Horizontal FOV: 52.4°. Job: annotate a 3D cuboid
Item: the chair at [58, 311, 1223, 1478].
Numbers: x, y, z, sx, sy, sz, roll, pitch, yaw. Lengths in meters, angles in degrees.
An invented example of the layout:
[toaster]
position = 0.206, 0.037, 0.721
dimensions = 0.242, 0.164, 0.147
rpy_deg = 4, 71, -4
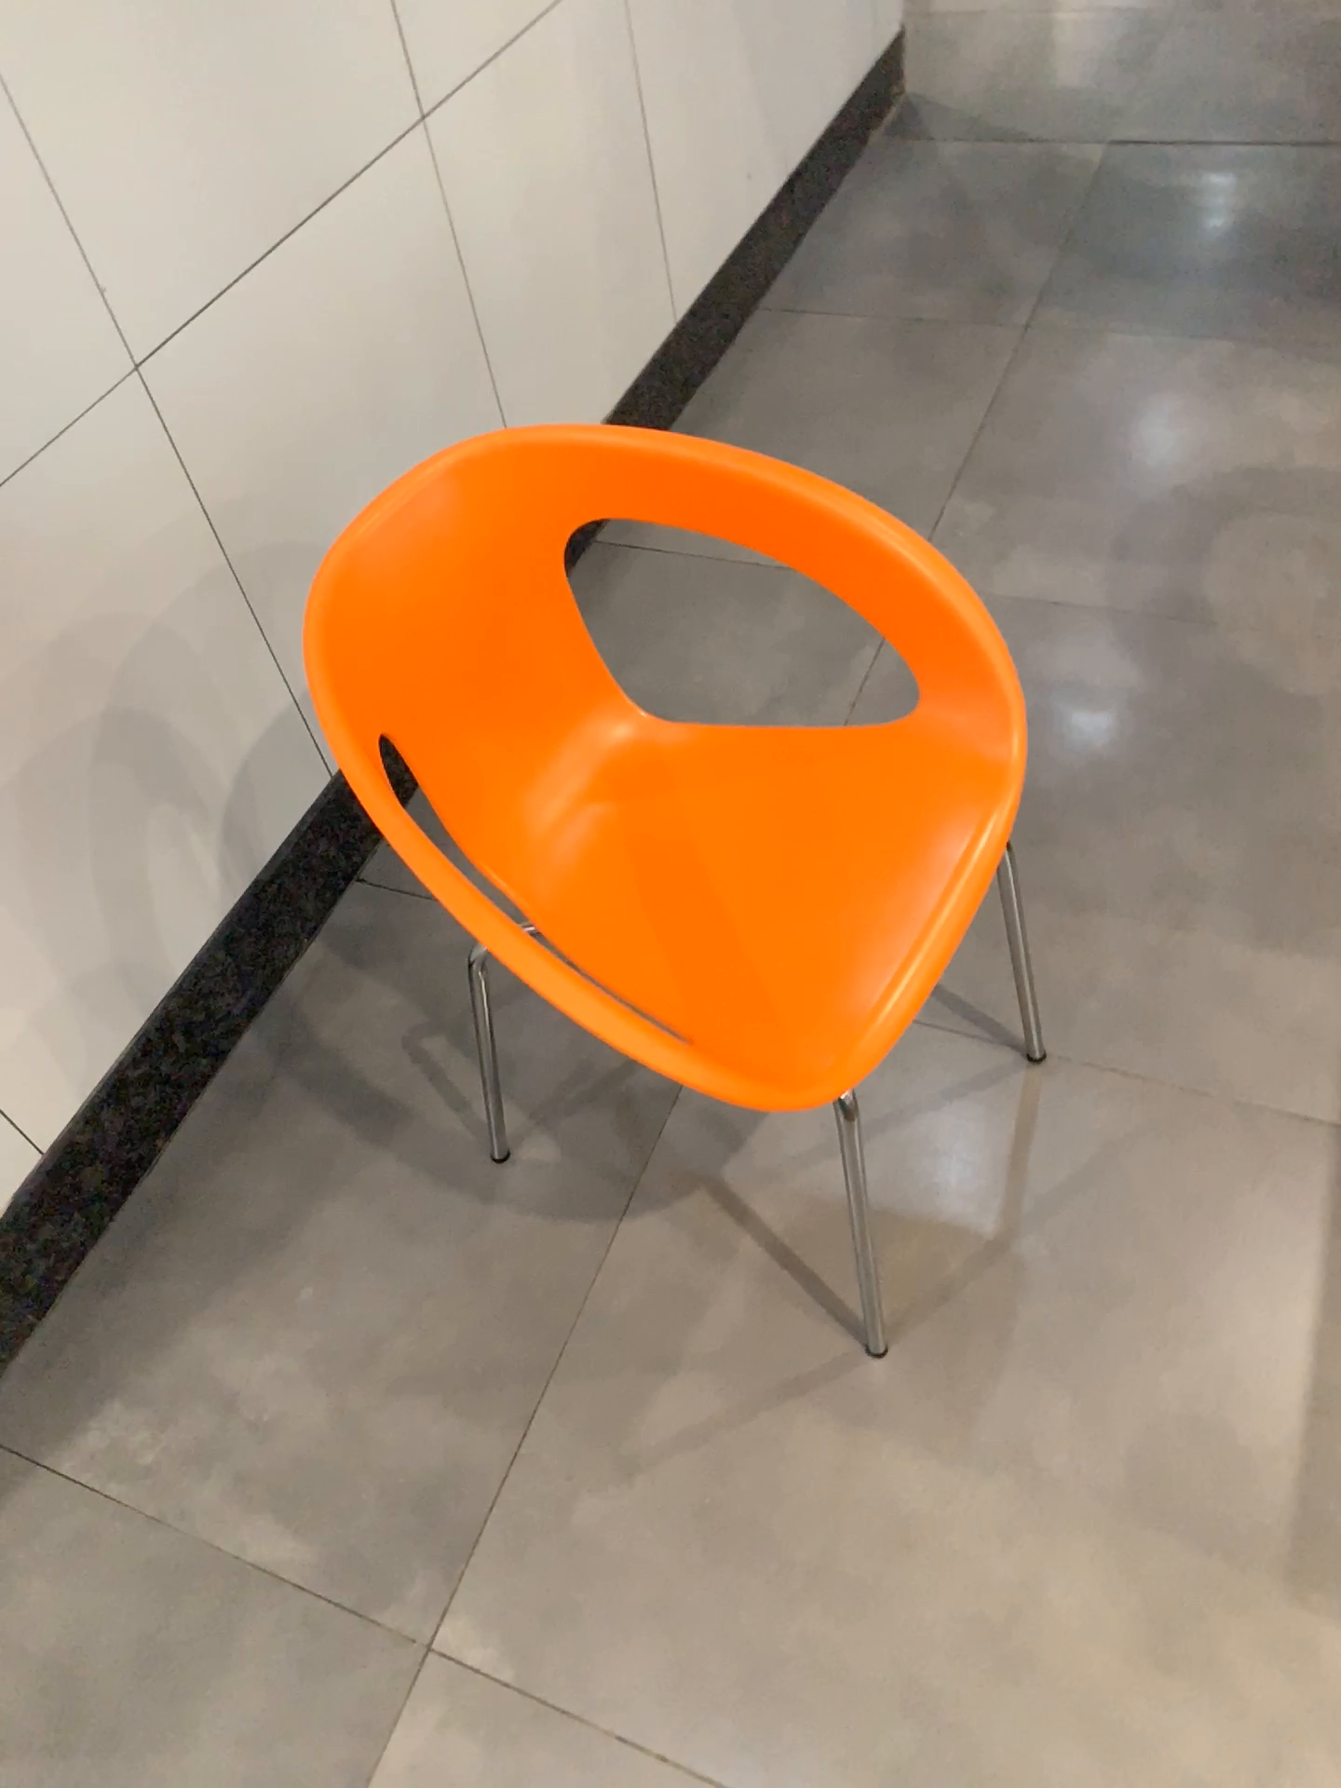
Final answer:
[chair]
position = 0.037, -0.030, 1.277
dimensions = 0.642, 0.665, 0.663
rpy_deg = 20, 54, 26
